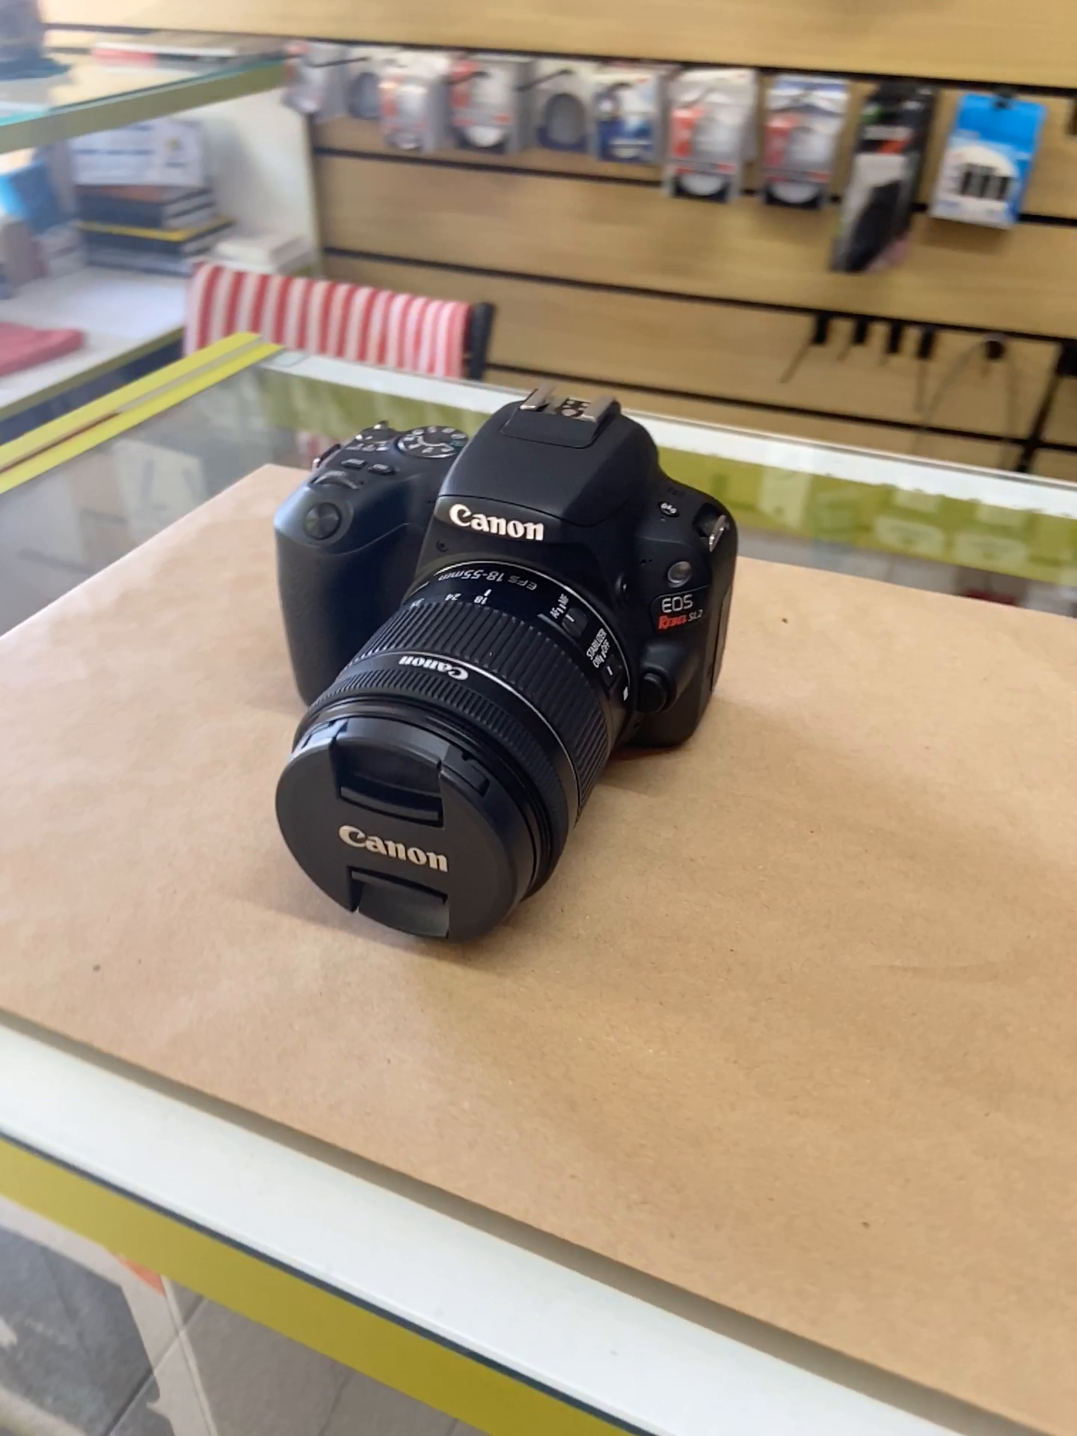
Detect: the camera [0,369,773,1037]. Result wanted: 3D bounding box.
[{"bbox_3d":[-0.025,-0.016,0.284,0.140,0.089,0.131,11,37,14],"label":"camera"}]
